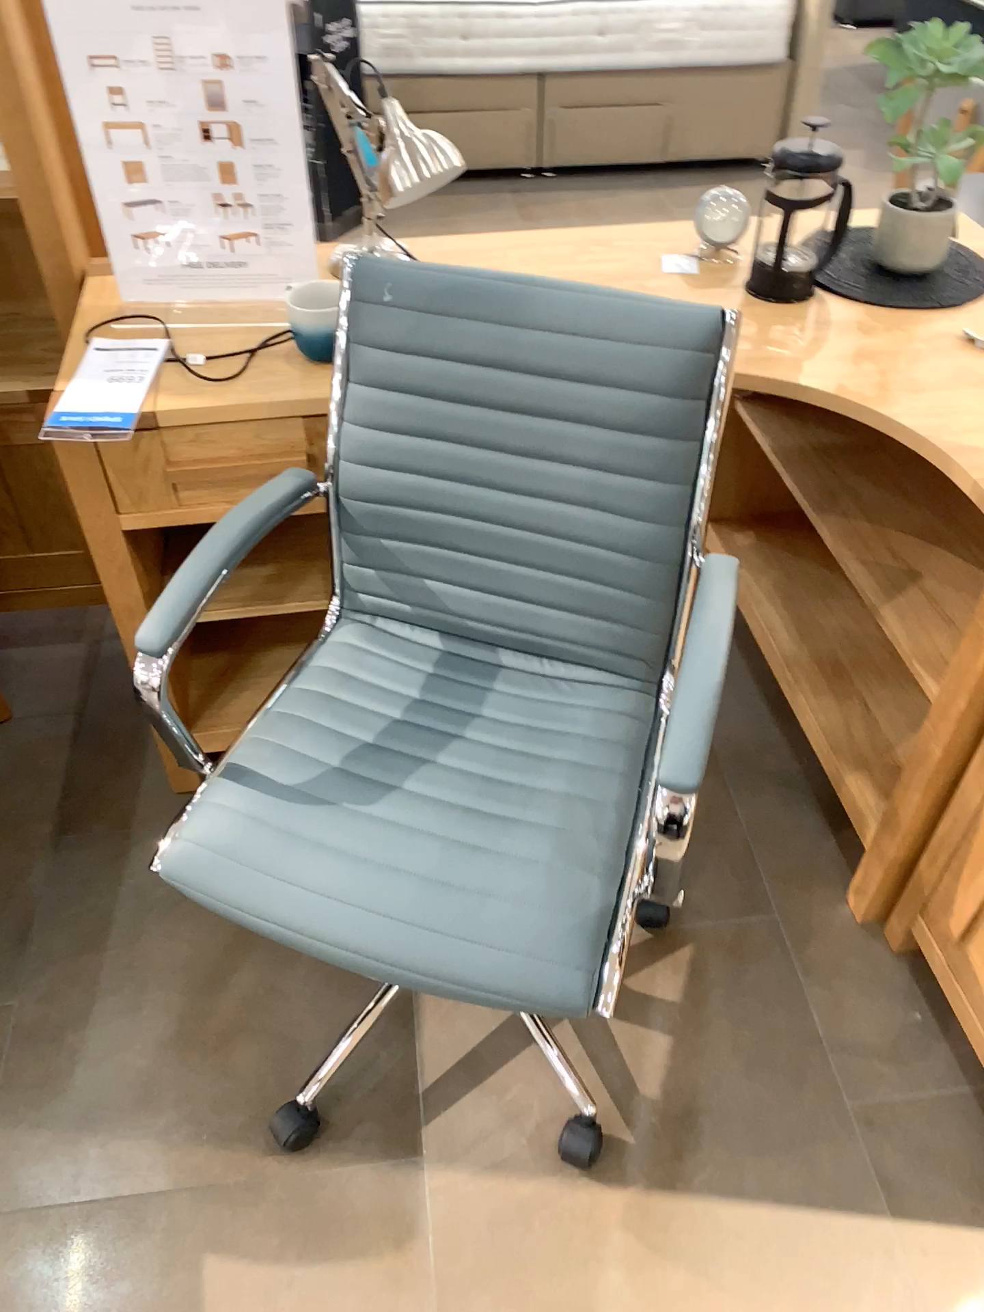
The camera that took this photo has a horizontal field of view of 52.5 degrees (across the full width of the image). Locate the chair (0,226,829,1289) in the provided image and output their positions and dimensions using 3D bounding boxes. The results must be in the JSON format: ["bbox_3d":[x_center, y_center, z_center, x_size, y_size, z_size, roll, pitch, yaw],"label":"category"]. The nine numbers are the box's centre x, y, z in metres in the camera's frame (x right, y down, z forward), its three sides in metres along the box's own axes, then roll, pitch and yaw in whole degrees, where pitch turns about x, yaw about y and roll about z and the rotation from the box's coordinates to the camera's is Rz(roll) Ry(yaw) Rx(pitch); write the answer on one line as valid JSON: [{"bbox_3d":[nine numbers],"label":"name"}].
[{"bbox_3d":[-0.079,0.109,1.186,0.664,0.883,0.713,14,45,14],"label":"chair"}]
